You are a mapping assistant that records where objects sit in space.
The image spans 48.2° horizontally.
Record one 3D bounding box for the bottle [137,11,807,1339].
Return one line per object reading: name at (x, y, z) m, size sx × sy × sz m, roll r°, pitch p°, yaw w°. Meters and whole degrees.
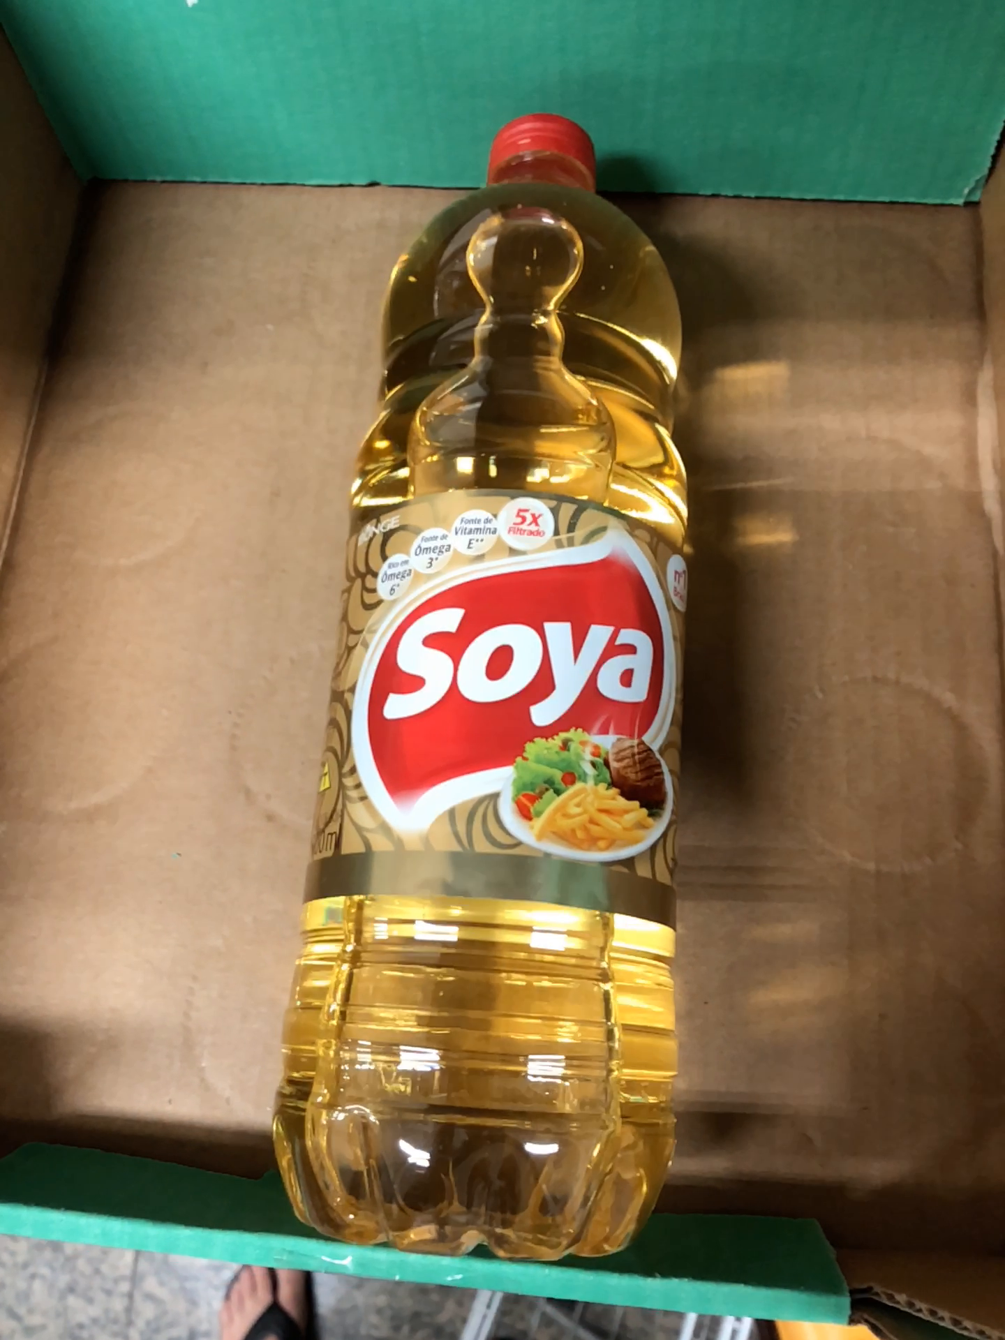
bottle at (0.005, -0.005, 0.204) m, size 0.080 × 0.070 × 0.210 m, roll 5°, pitch 73°, yaw 4°
